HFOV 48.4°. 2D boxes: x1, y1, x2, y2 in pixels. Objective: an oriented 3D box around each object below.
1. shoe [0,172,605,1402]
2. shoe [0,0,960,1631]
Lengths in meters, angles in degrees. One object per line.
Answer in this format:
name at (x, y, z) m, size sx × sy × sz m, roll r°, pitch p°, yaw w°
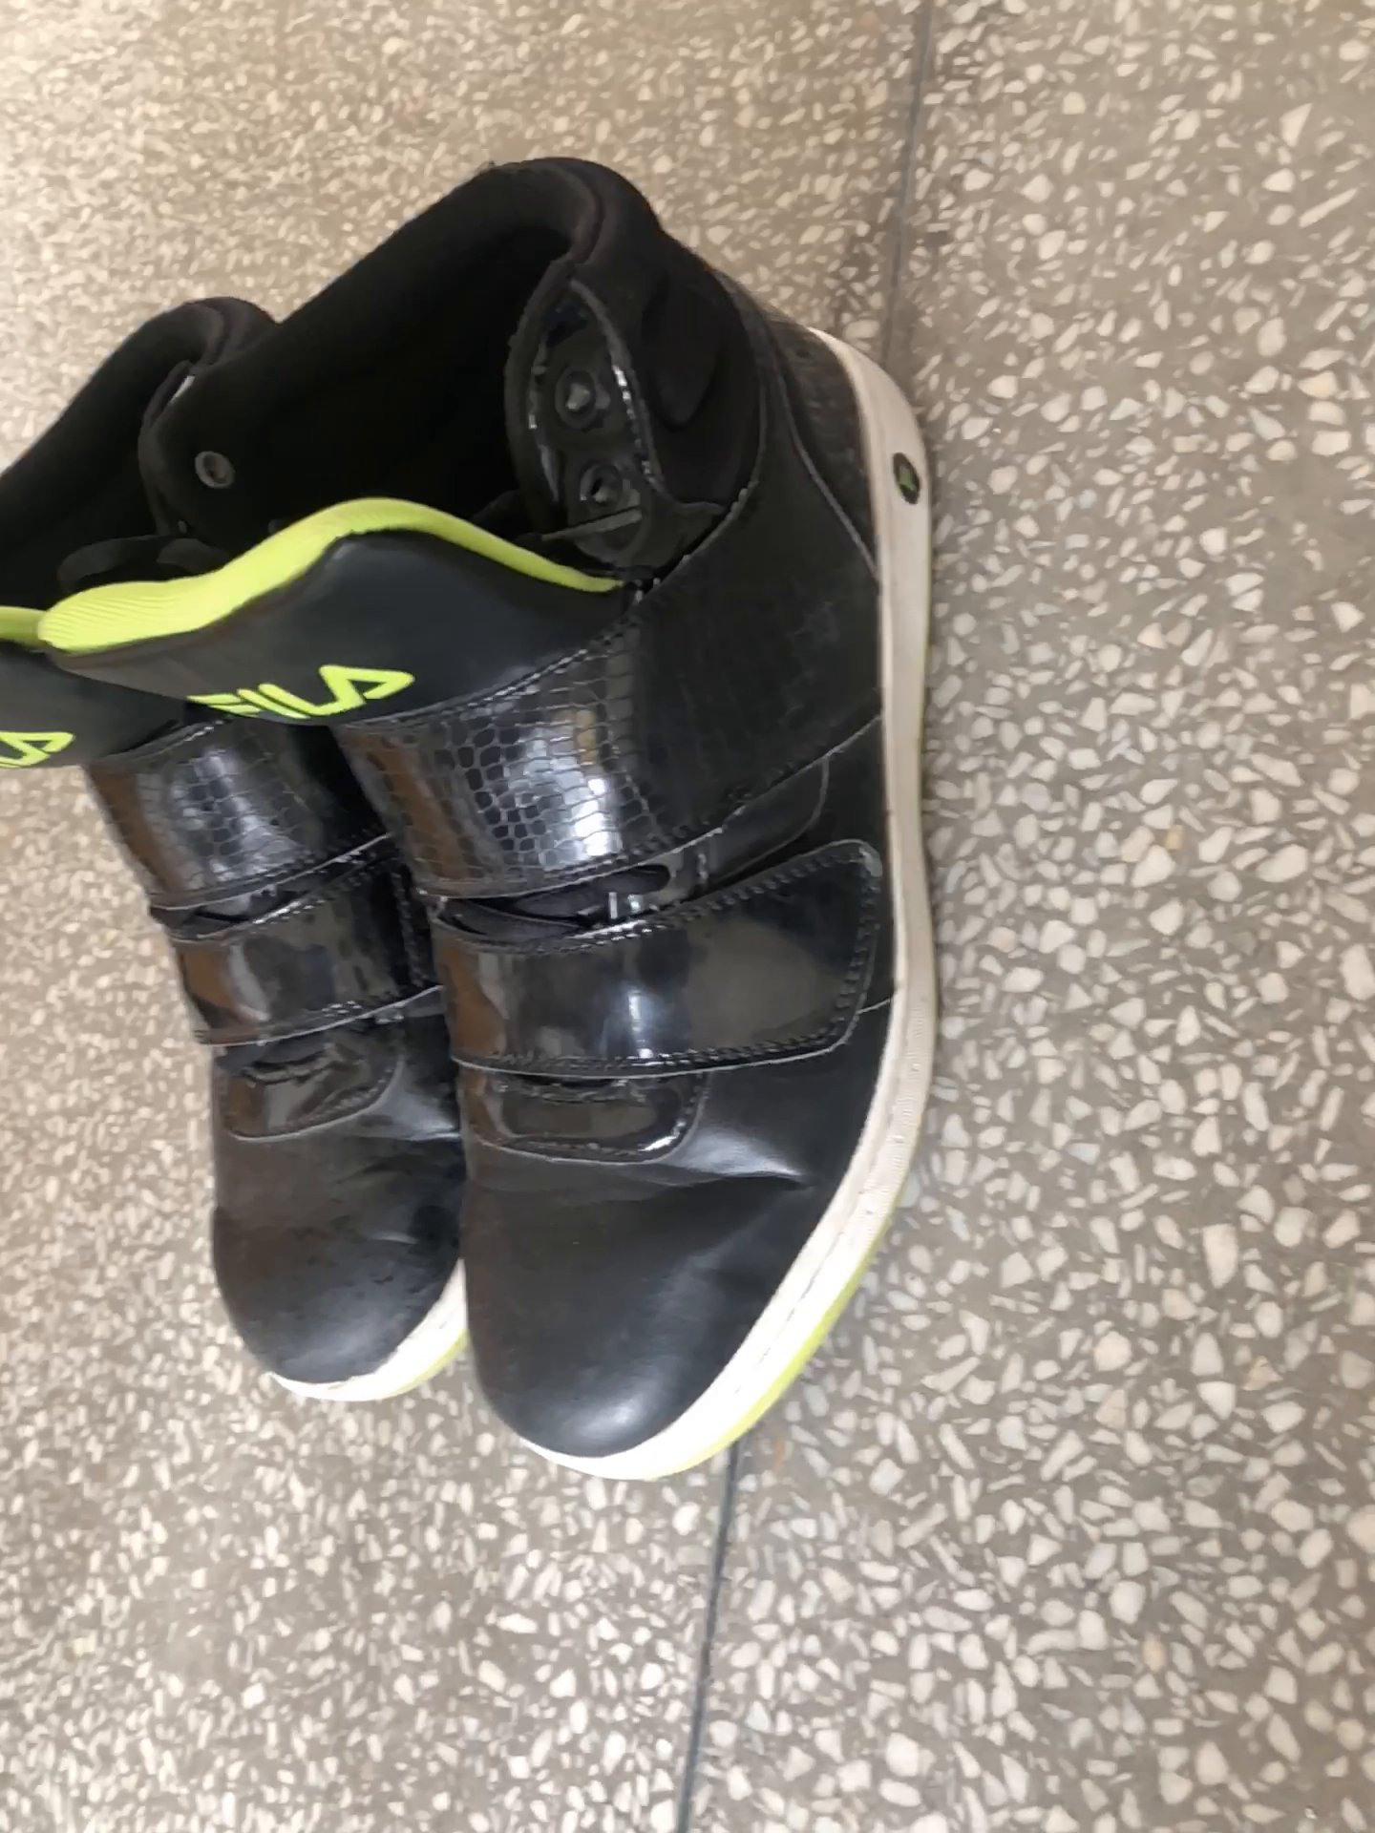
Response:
shoe at (-0.116, -0.014, 0.402) m, size 0.120 × 0.147 × 0.270 m, roll -12°, pitch 69°, yaw 34°
shoe at (-0.037, -0.008, 0.315) m, size 0.120 × 0.147 × 0.250 m, roll -5°, pitch 73°, yaw 36°
